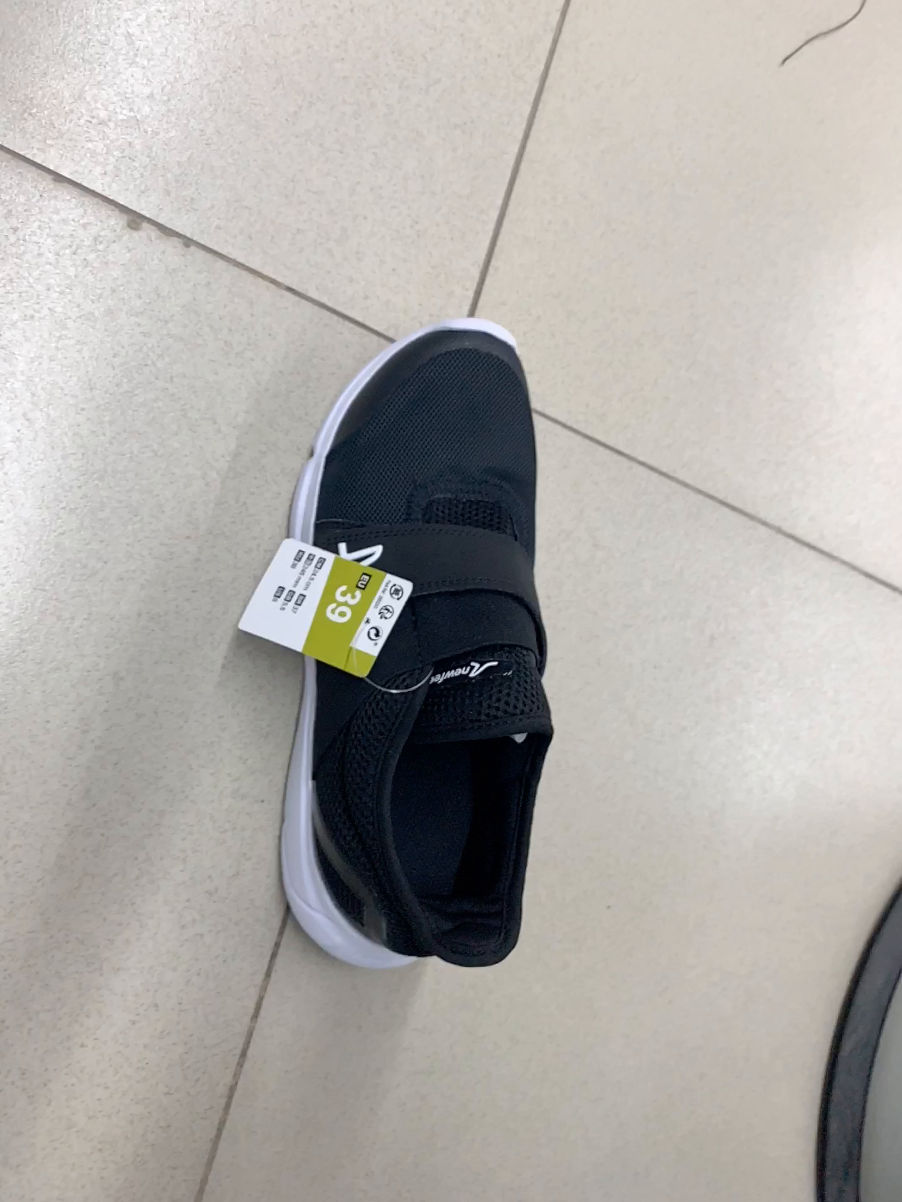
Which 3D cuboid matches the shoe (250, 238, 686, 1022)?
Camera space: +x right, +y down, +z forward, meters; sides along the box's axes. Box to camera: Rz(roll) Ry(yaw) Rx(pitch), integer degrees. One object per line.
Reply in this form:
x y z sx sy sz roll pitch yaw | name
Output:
0.005 0.014 0.361 0.110 0.100 0.250 10 82 -24 | shoe
